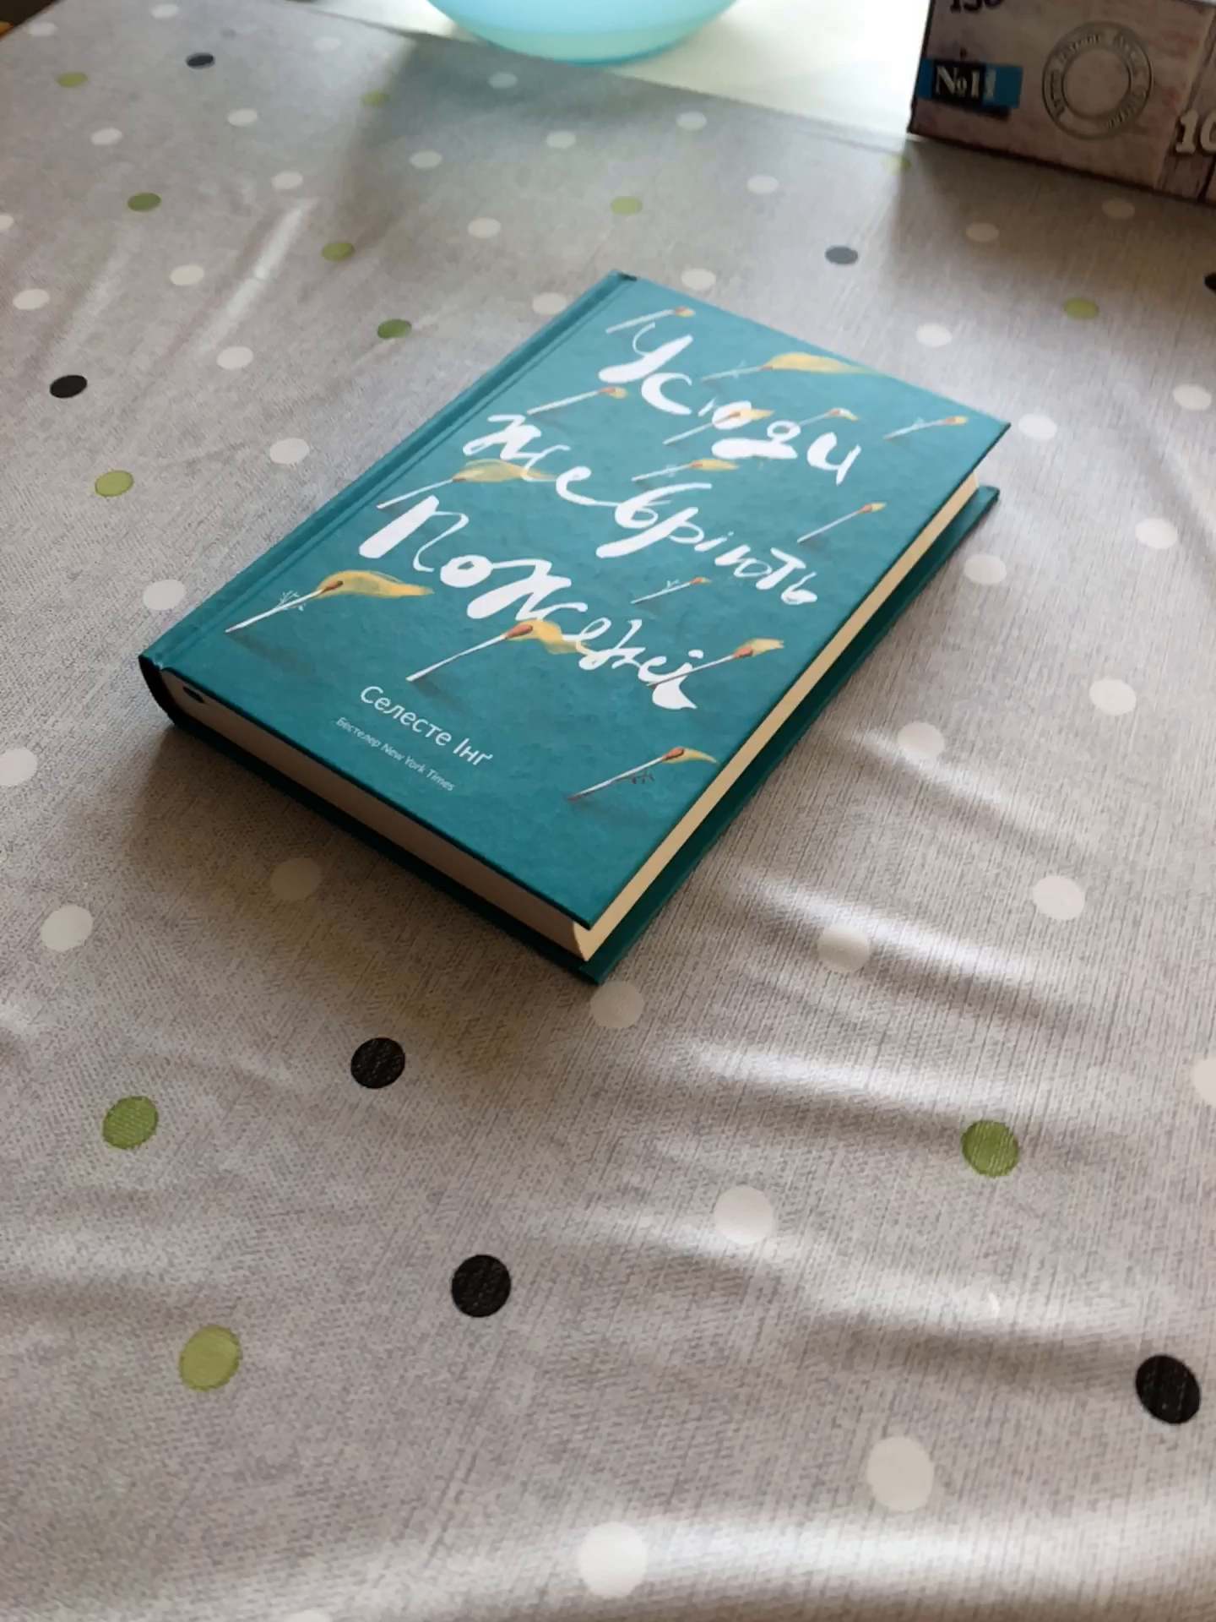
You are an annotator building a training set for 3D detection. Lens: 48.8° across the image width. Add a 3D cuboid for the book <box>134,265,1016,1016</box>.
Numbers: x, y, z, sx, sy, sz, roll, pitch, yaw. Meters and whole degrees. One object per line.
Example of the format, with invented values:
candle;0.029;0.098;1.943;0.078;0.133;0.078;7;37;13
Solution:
book;0.000;-0.066;0.384;0.144;0.040;0.214;30;59;21
